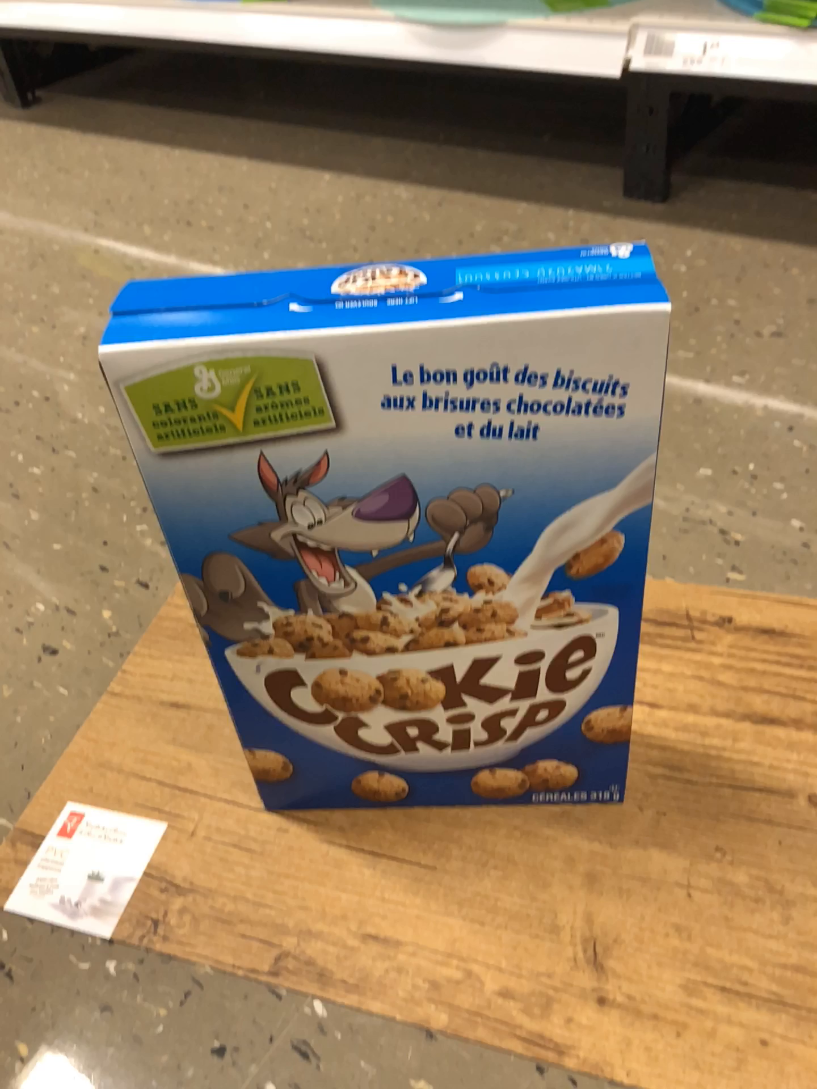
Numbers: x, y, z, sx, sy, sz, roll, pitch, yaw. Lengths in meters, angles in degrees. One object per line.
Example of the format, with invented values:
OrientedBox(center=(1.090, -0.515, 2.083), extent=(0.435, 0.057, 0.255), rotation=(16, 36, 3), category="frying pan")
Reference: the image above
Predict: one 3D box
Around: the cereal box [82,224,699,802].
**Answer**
OrientedBox(center=(0.006, 0.010, 0.403), extent=(0.200, 0.269, 0.060), rotation=(-3, 41, 5), category="cereal box")
